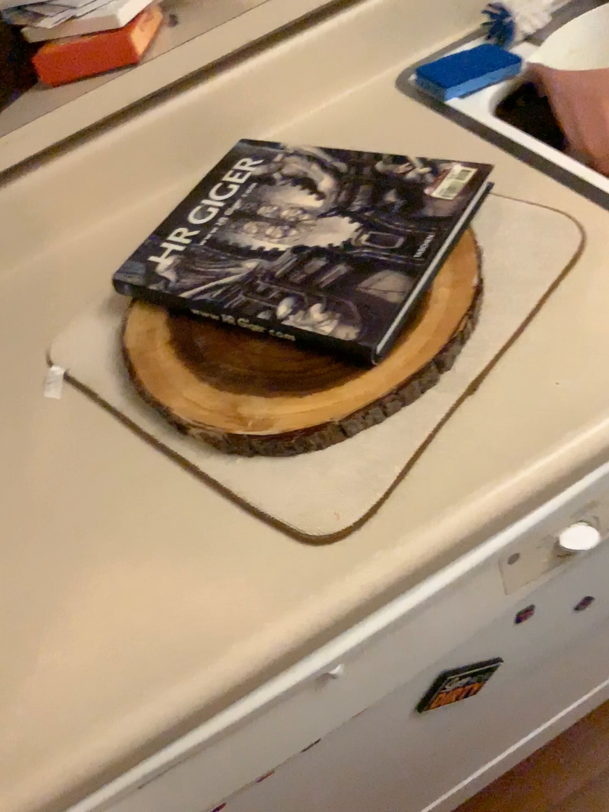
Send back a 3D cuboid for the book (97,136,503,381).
[{"bbox_3d":[-0.008,-0.174,0.694,0.330,0.030,0.270,18,59,30],"label":"book"}]
